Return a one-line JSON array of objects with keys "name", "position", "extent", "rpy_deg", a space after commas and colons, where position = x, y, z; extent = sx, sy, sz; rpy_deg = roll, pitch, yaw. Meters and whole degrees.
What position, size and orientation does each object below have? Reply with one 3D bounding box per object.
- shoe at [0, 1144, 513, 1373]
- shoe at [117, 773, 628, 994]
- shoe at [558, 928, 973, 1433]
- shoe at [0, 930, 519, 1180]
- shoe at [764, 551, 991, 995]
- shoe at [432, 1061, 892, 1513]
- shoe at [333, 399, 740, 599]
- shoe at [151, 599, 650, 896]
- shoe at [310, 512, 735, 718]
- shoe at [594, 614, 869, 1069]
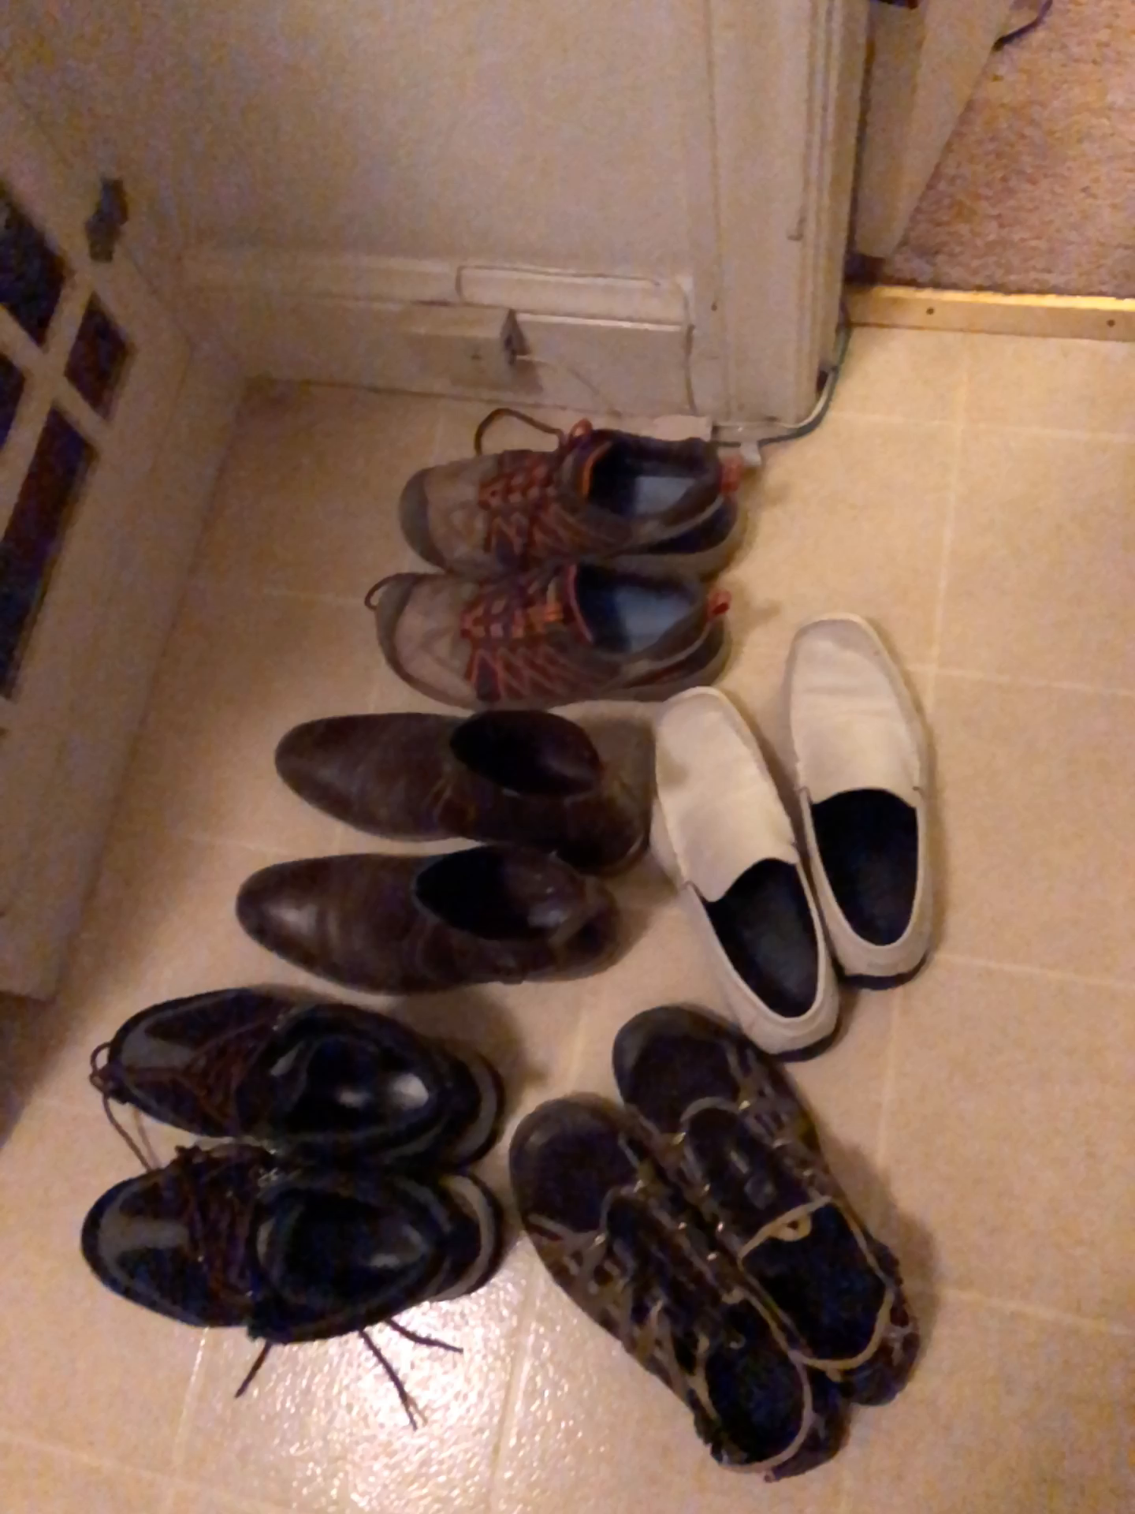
[{"name": "shoe", "position": [-0.218, 0.333, 0.846], "extent": [0.323, 0.193, 0.110], "rpy_deg": [0, 71, 9]}, {"name": "shoe", "position": [-0.129, 0.098, 0.926], "extent": [0.323, 0.193, 0.110], "rpy_deg": [1, 71, 10]}, {"name": "shoe", "position": [0.128, 0.280, 0.853], "extent": [0.110, 0.123, 0.294], "rpy_deg": [-34, 69, -4]}, {"name": "shoe", "position": [-0.218, 0.218, 0.895], "extent": [0.323, 0.193, 0.110], "rpy_deg": [6, 72, 11]}, {"name": "shoe", "position": [0.224, 0.013, 0.936], "extent": [0.110, 0.113, 0.304], "rpy_deg": [-7, 70, 7]}, {"name": "shoe", "position": [0.060, 0.355, 0.834], "extent": [0.110, 0.123, 0.294], "rpy_deg": [-45, 70, -8]}, {"name": "shoe", "position": [-0.019, -0.215, 1.039], "extent": [0.313, 0.113, 0.110], "rpy_deg": [4, 71, 11]}, {"name": "shoe", "position": [-0.115, -0.003, 0.958], "extent": [0.323, 0.193, 0.110], "rpy_deg": [12, 73, 13]}, {"name": "shoe", "position": [-0.029, -0.114, 0.998], "extent": [0.313, 0.113, 0.110], "rpy_deg": [4, 71, 11]}, {"name": "shoe", "position": [0.118, 0.064, 0.933], "extent": [0.110, 0.113, 0.304], "rpy_deg": [-16, 69, 3]}]
